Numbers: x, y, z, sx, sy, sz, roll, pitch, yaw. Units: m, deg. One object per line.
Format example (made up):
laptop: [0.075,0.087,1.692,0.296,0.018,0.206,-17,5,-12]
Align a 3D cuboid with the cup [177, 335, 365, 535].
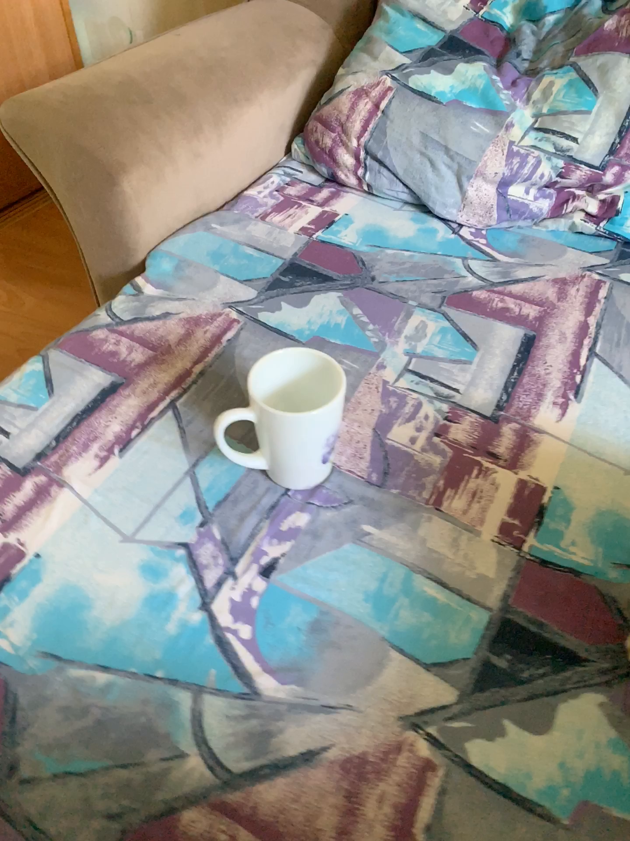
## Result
cup: [-0.034,0.010,0.526,0.120,0.099,0.081,-24,50,-22]
